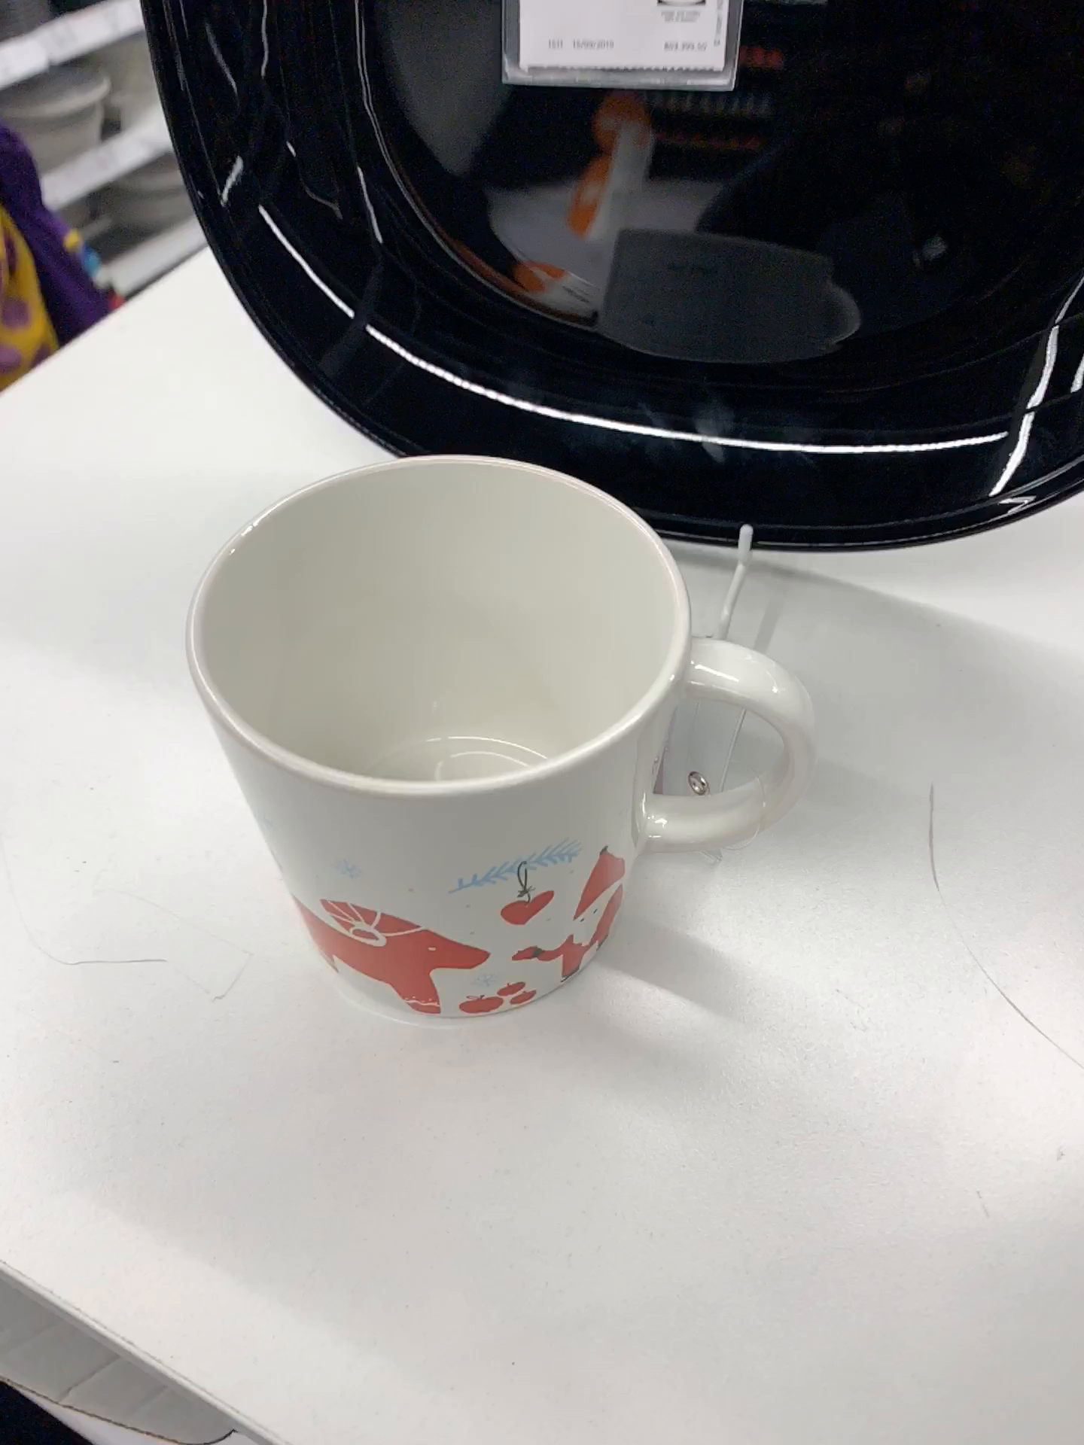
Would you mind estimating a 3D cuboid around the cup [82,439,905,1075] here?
[{"bbox_3d":[-0.007,0.008,0.228,0.120,0.090,0.090,1,48,0],"label":"cup"}]
